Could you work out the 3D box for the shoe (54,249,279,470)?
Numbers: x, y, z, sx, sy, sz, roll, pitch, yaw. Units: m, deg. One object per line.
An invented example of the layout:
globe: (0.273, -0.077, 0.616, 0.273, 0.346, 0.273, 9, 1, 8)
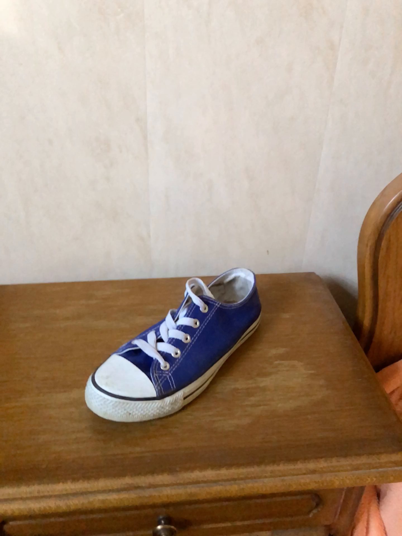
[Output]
shoe: (-0.021, 0.080, 0.497, 0.090, 0.089, 0.262, 23, 36, 31)
